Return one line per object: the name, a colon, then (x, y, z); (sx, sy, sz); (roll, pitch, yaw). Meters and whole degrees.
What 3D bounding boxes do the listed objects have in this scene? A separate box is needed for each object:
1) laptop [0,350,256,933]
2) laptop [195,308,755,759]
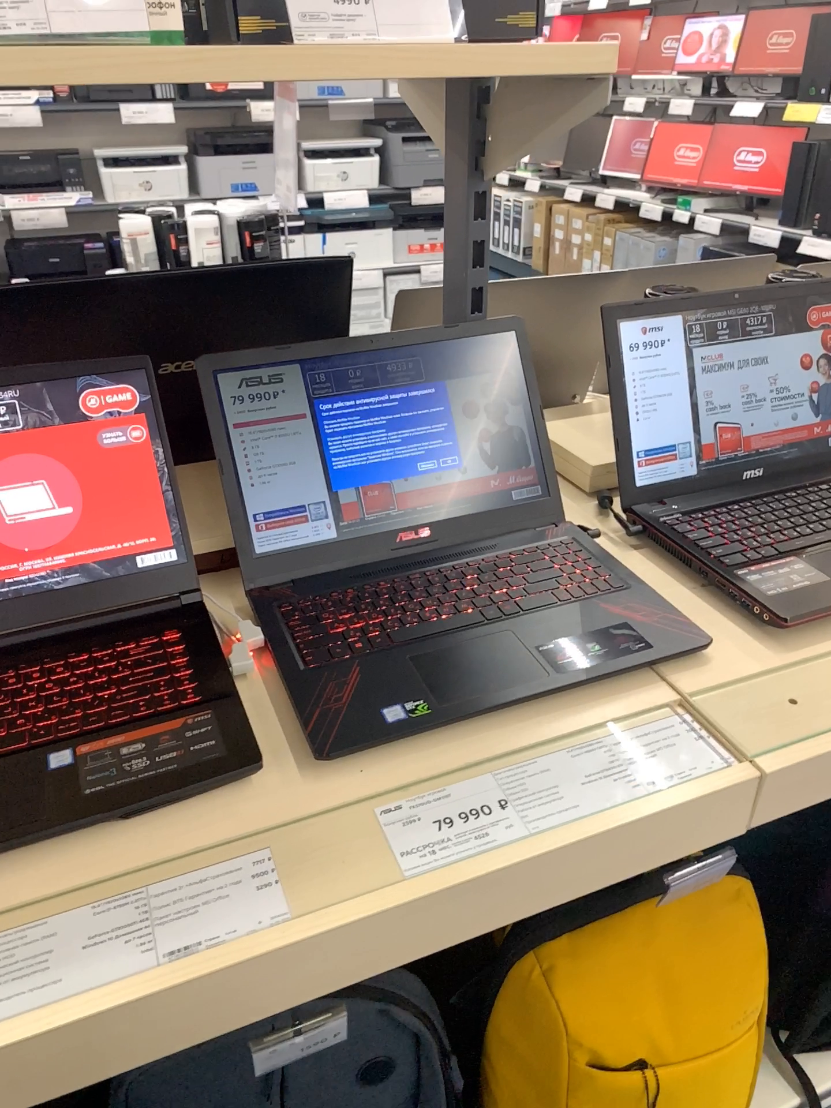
laptop: (-0.338, 0.015, 0.659); (0.338, 0.209, 0.354); (-12, 32, -20)
laptop: (0.023, -0.063, 0.800); (0.365, 0.199, 0.384); (-12, 32, -18)
